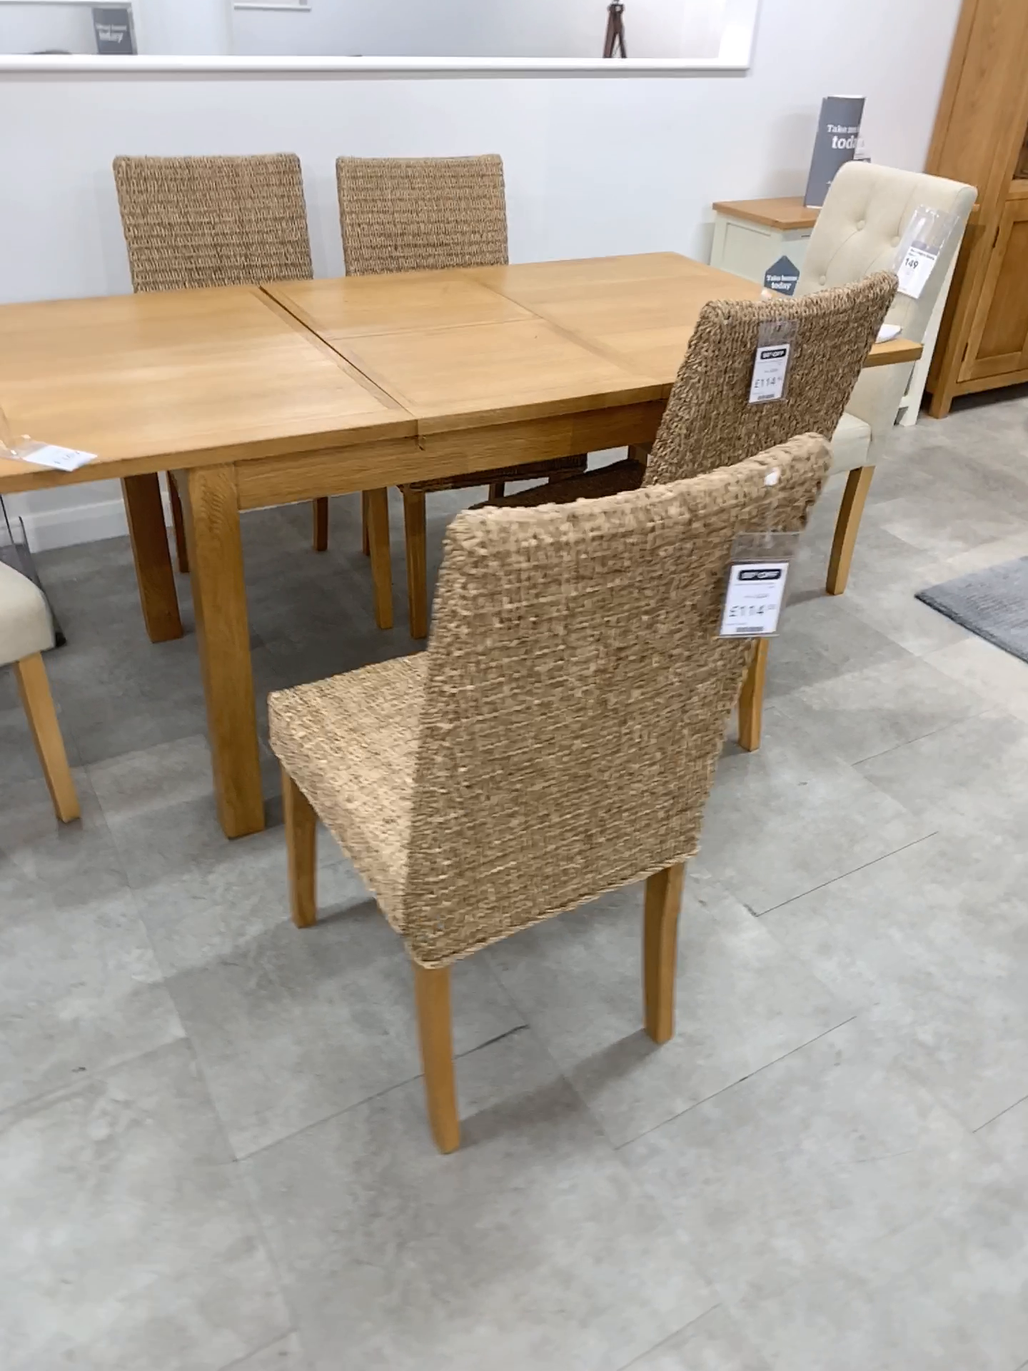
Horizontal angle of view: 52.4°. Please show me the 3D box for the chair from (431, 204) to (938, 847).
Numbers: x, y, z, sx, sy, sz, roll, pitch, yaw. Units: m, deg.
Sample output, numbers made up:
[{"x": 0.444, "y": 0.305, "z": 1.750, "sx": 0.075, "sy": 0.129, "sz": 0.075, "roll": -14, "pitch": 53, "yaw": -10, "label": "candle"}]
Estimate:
[{"x": 0.231, "y": -0.306, "z": 1.835, "sx": 0.526, "sy": 0.870, "sz": 0.568, "roll": -21, "pitch": 40, "yaw": -31, "label": "chair"}]

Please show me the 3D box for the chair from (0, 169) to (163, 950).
[{"x": -0.932, "y": -0.227, "z": 1.532, "sx": 0.426, "sy": 0.840, "sz": 0.729, "roll": -23, "pitch": 41, "yaw": -33, "label": "chair"}]

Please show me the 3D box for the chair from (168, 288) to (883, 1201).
[{"x": -0.038, "y": 0.036, "z": 1.289, "sx": 0.506, "sy": 0.840, "sz": 0.579, "roll": -16, "pitch": 38, "yaw": -26, "label": "chair"}]
